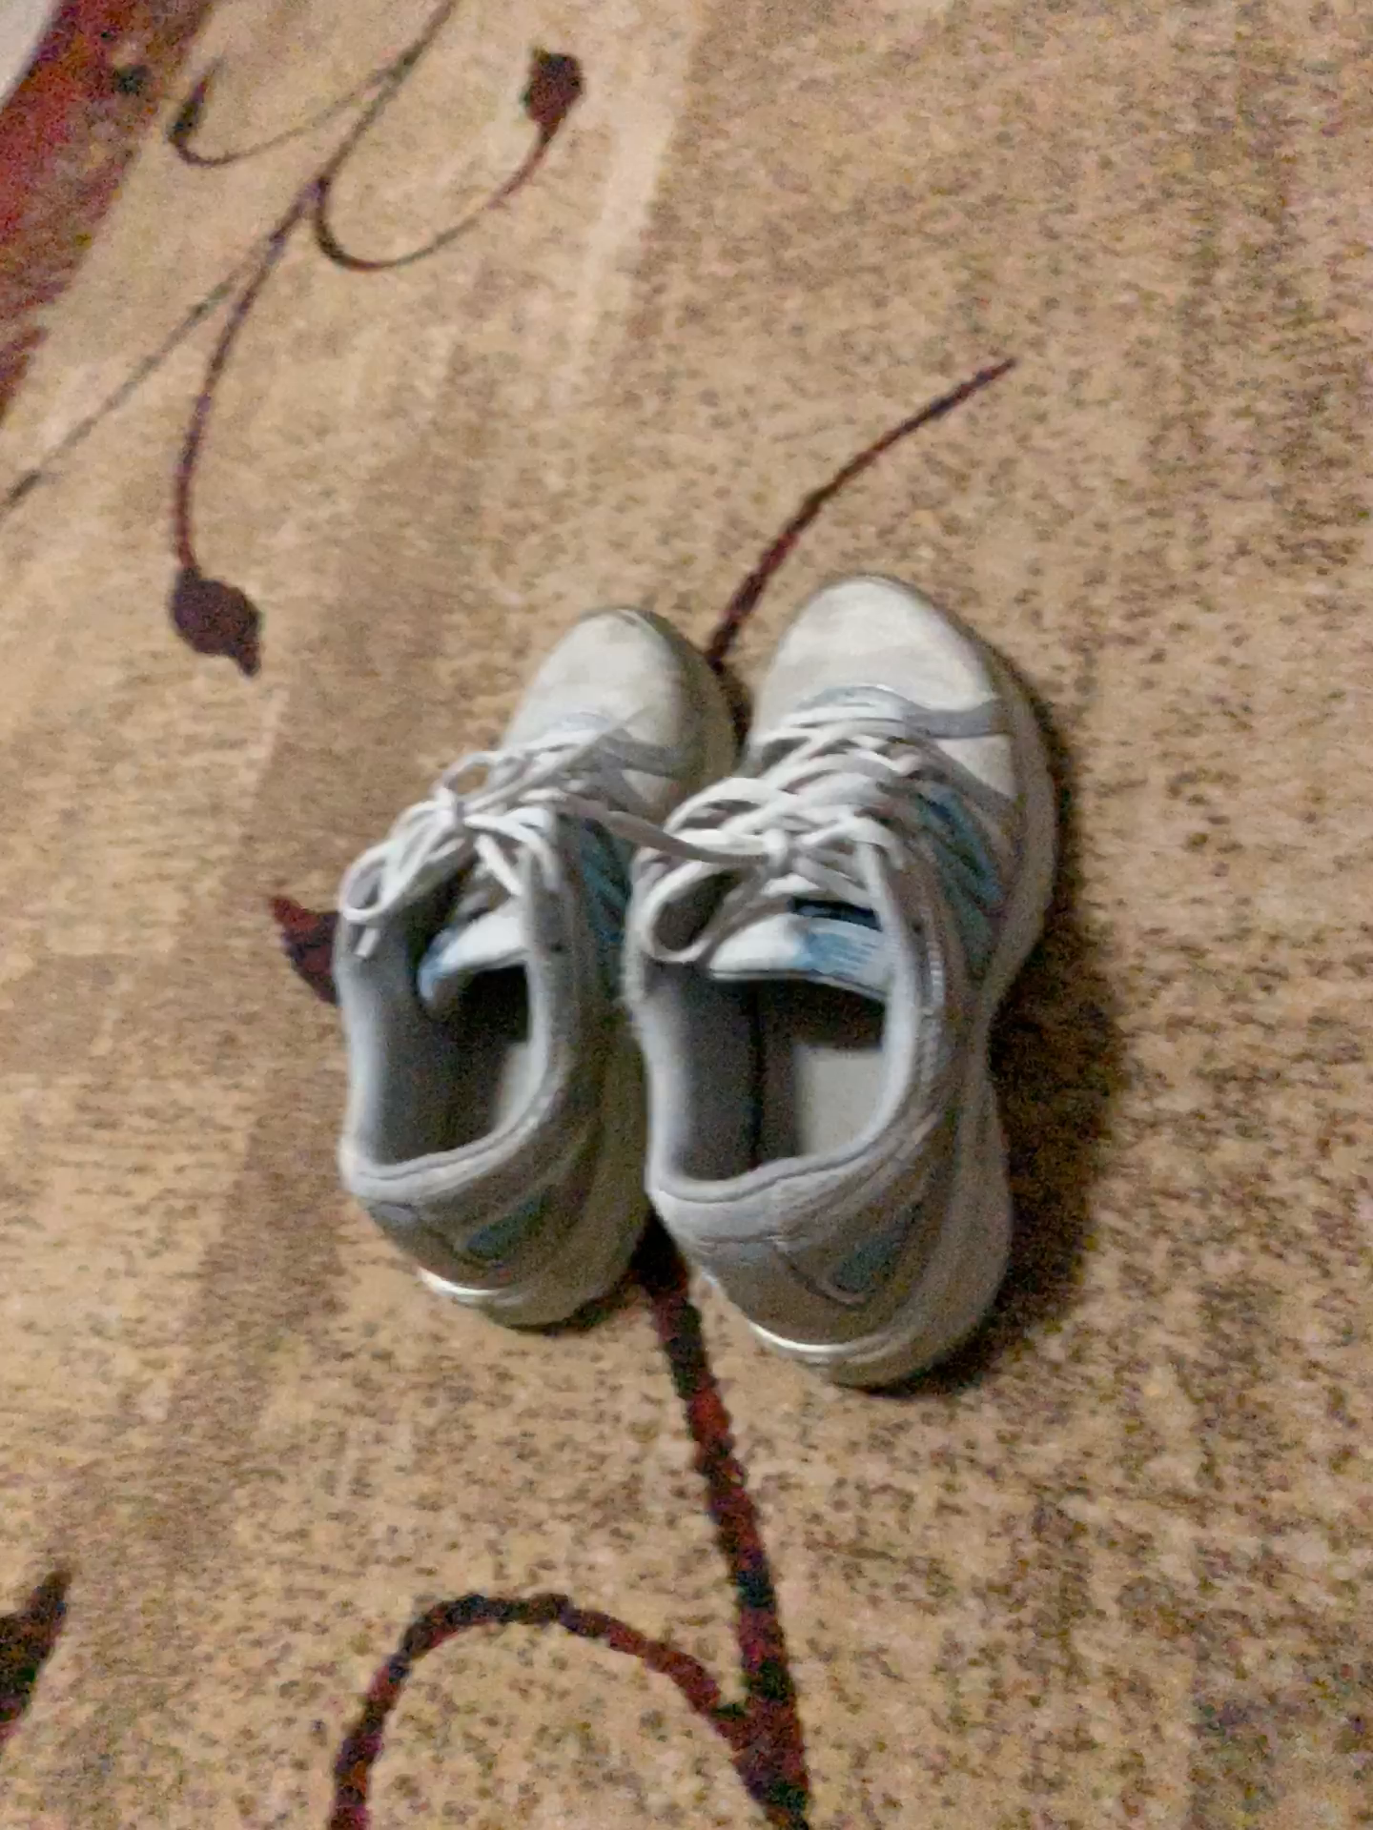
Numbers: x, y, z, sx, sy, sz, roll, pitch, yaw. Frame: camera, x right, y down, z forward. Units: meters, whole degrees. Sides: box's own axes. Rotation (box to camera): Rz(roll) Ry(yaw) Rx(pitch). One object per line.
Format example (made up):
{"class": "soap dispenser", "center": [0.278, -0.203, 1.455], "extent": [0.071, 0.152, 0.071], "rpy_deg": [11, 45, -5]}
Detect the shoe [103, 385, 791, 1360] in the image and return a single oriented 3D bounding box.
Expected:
{"class": "shoe", "center": [-0.061, -0.014, 0.475], "extent": [0.111, 0.124, 0.283], "rpy_deg": [-5, 60, 30]}

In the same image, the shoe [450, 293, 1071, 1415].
{"class": "shoe", "center": [0.040, -0.018, 0.411], "extent": [0.104, 0.124, 0.283], "rpy_deg": [-7, 59, 29]}
